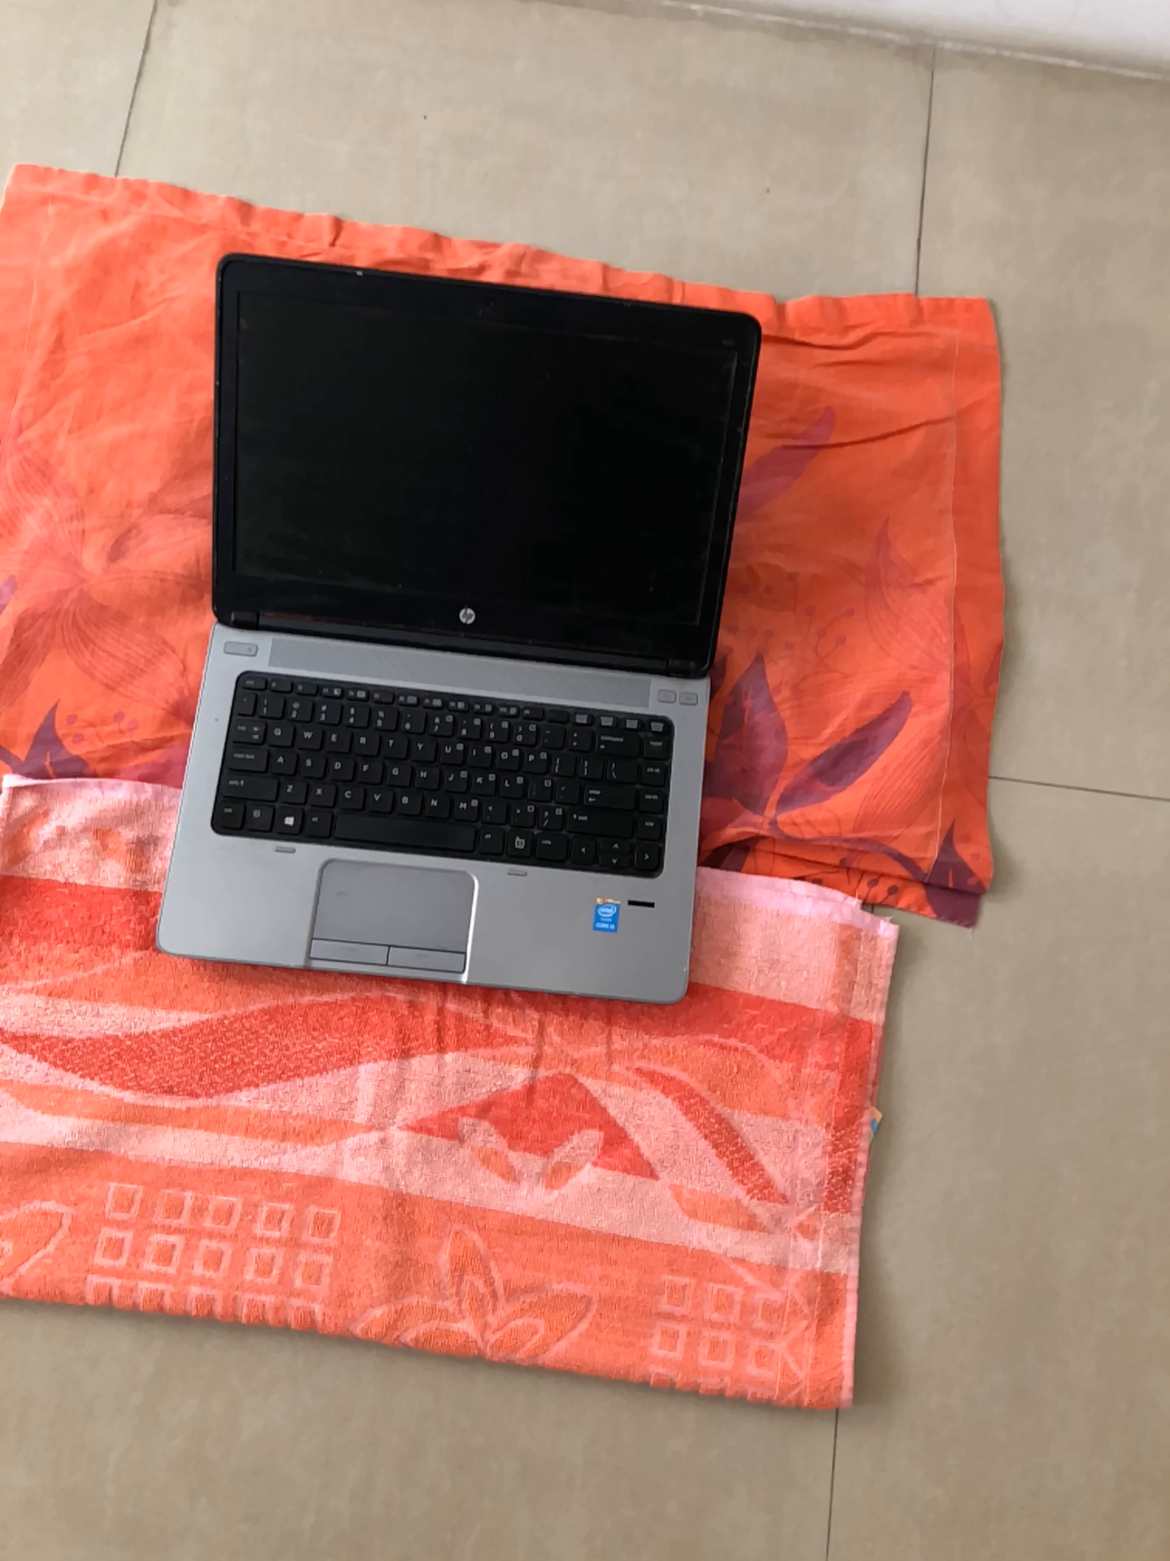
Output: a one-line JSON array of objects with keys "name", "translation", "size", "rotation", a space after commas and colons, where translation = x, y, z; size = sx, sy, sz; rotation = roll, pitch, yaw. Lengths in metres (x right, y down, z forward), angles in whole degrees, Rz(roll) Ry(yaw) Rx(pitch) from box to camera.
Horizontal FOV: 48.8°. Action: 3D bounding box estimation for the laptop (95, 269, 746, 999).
[{"name": "laptop", "translation": [-0.083, -0.088, 0.801], "size": [0.328, 0.111, 0.410], "rotation": [6, 76, -3]}]
